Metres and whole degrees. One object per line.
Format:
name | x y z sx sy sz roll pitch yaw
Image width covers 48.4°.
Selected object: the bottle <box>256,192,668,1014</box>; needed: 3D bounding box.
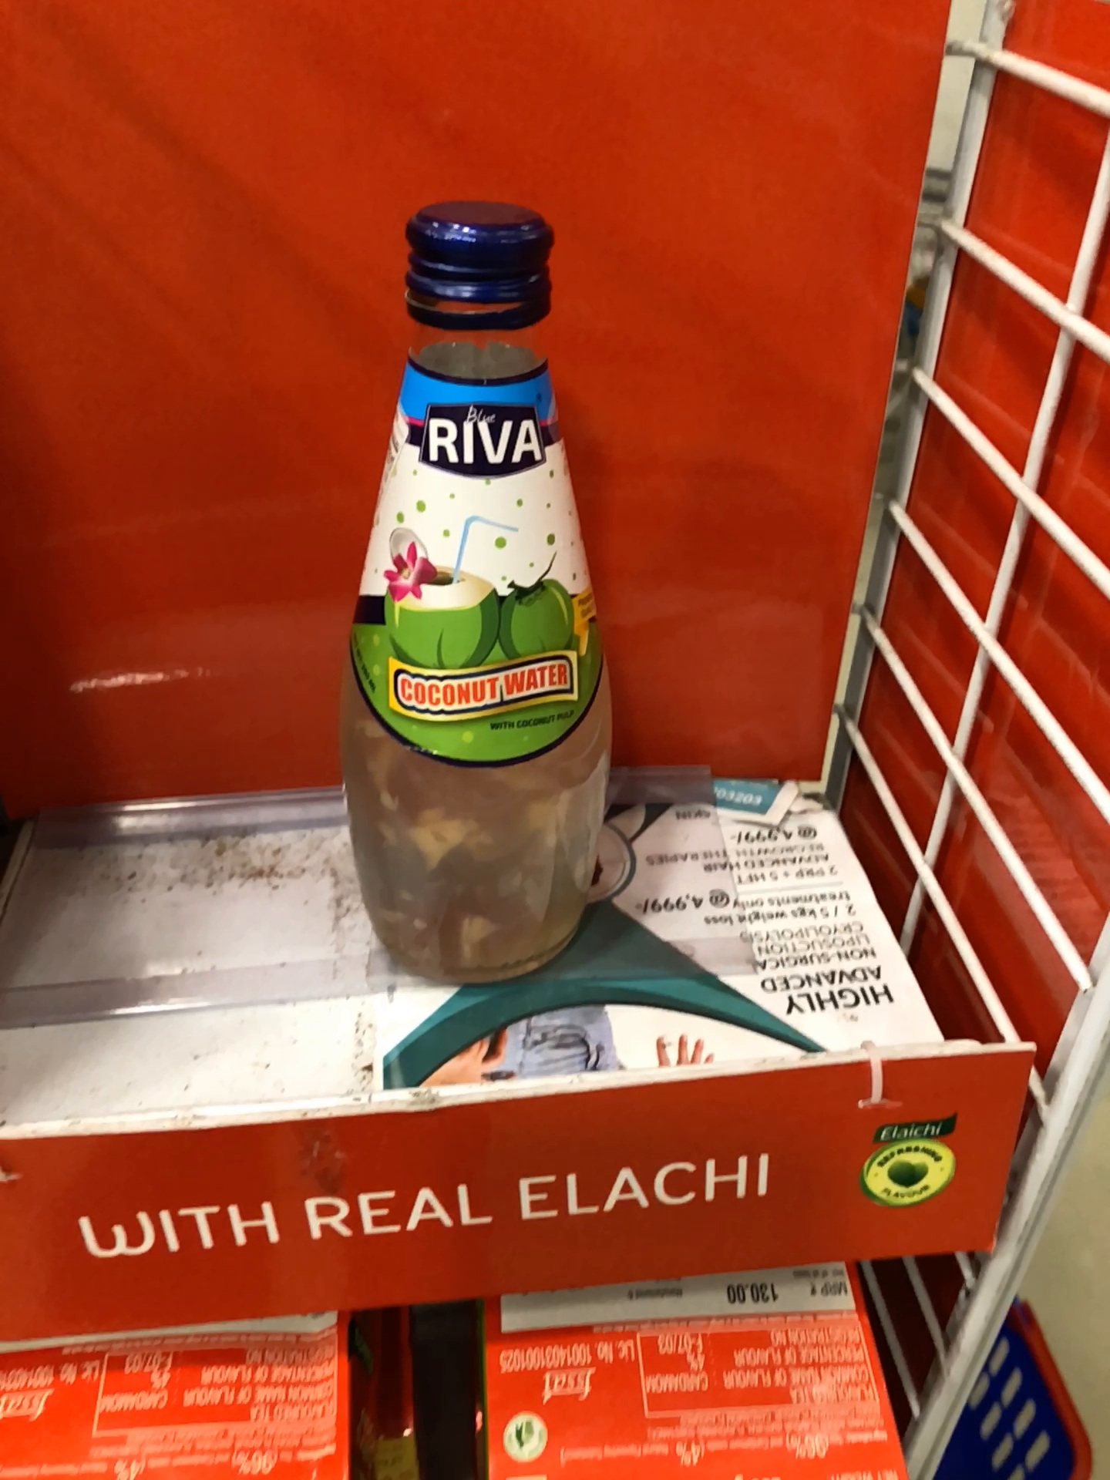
bottle | -0.021 -0.024 0.286 0.070 0.179 0.060 -4 36 -8
